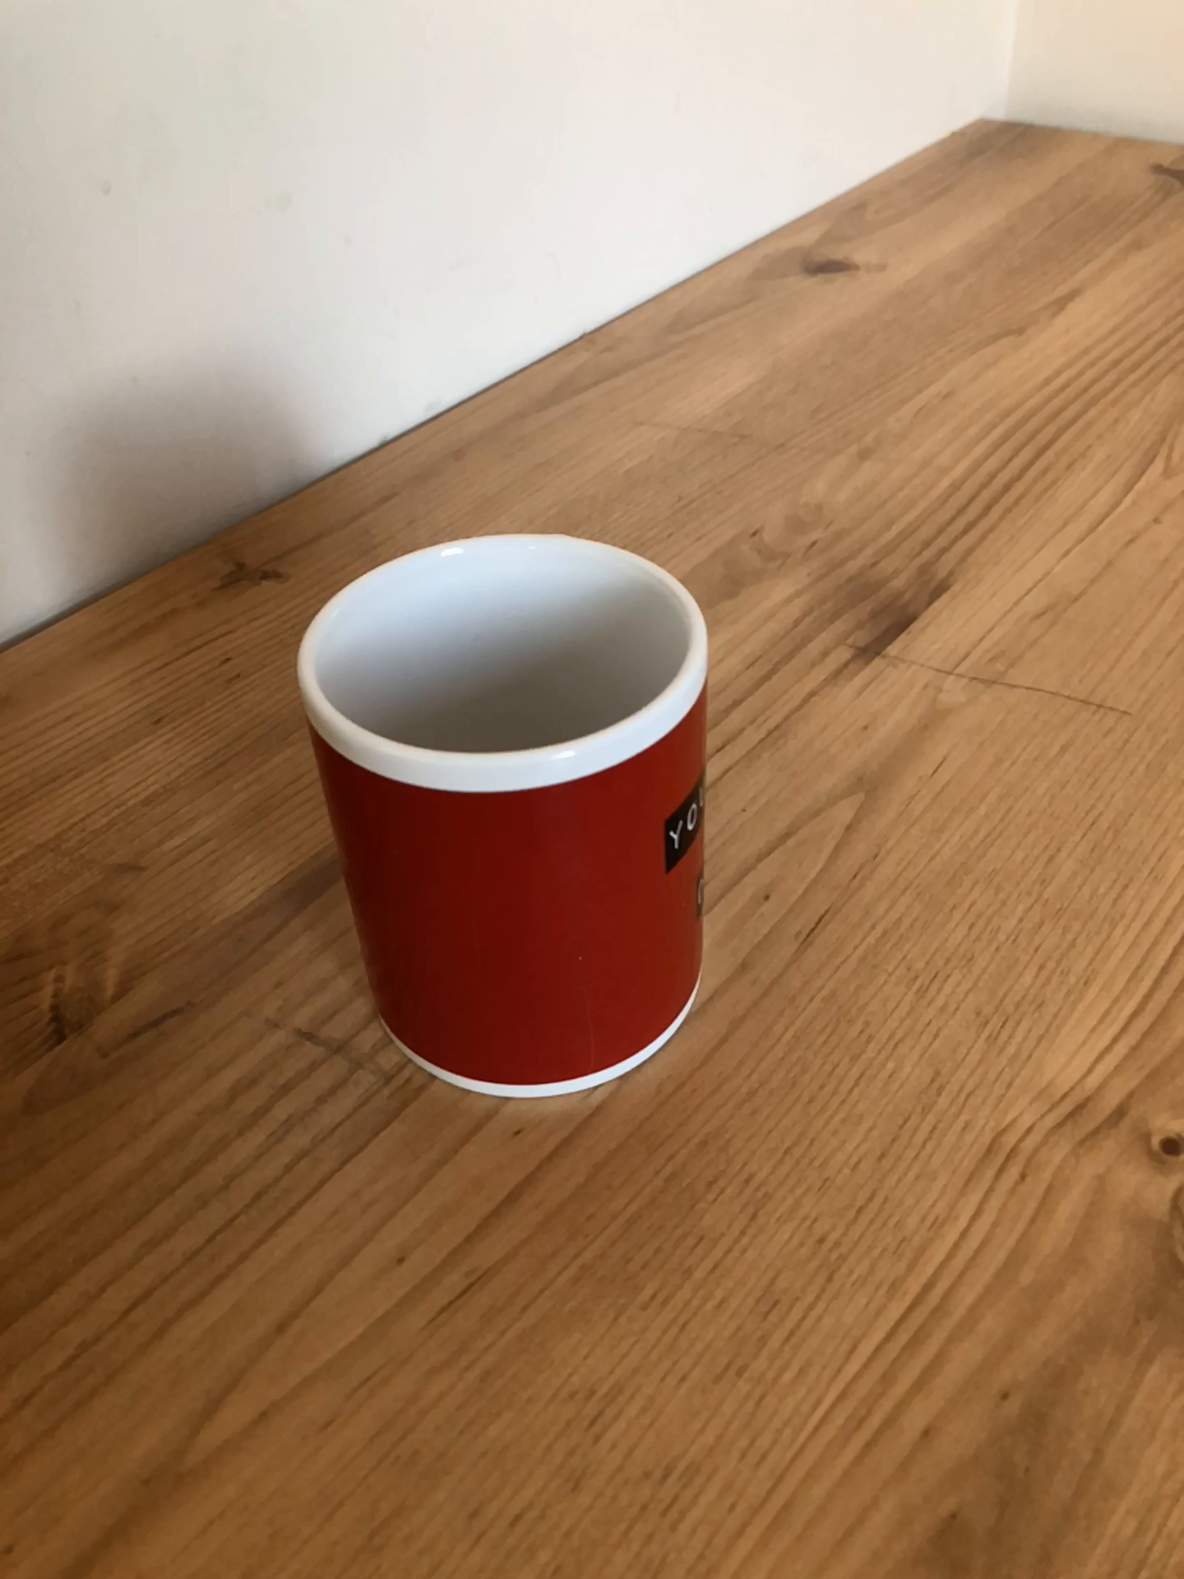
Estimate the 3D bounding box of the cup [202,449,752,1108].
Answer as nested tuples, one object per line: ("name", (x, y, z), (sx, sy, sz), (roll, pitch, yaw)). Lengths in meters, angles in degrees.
("cup", (-0.012, -0.009, 0.295), (0.091, 0.086, 0.124), (2, 40, 8))
